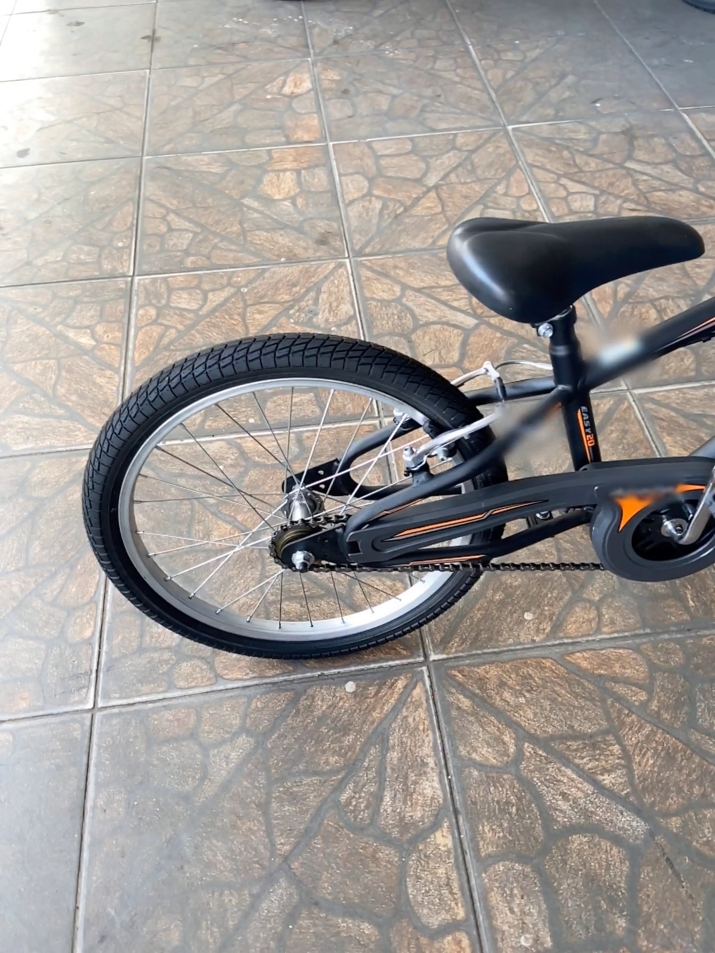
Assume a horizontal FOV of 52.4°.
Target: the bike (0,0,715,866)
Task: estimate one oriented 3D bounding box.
[{"bbox_3d":[0.332,-0.232,0.832,1.350,0.979,0.726,-10,54,-9],"label":"bike"}]
